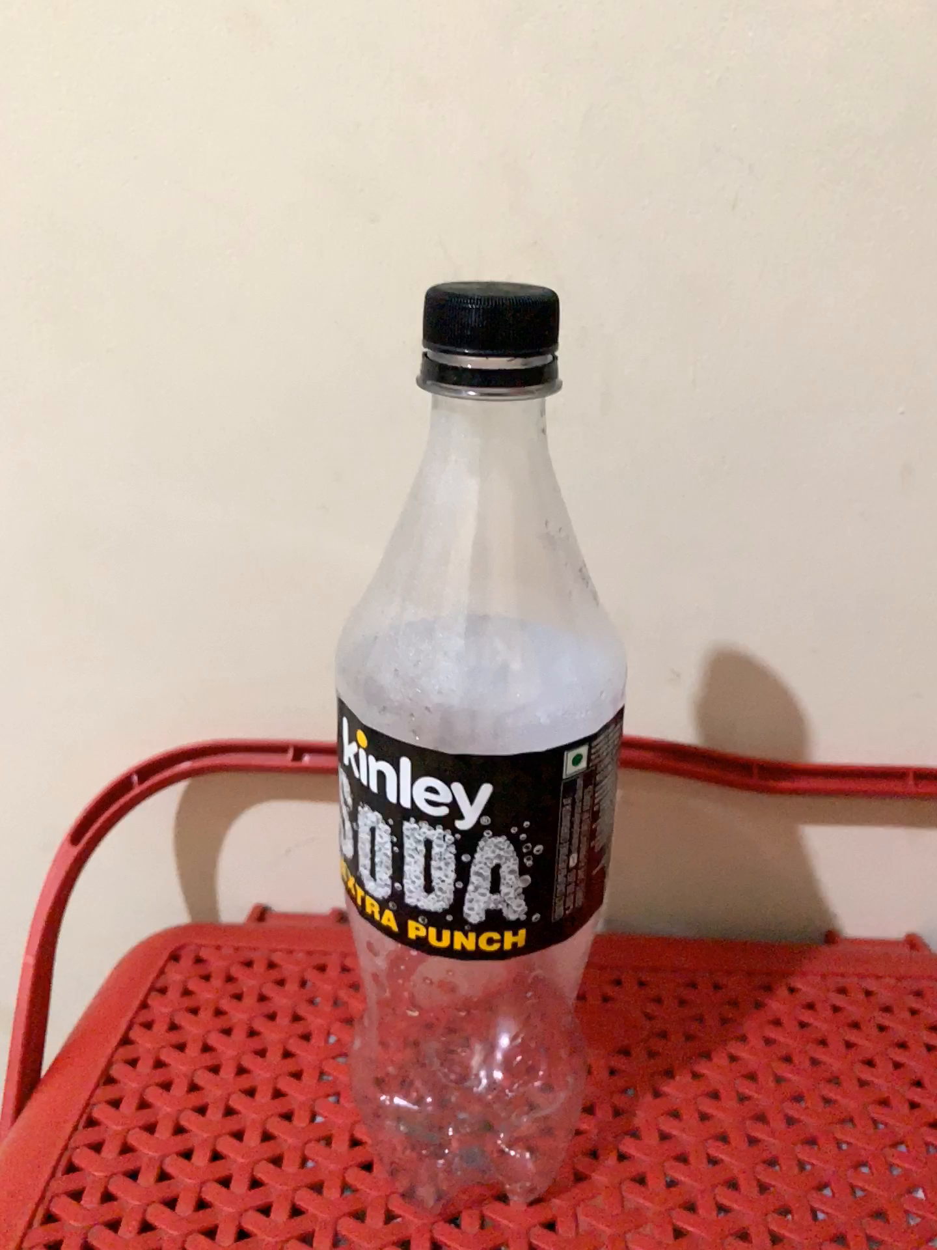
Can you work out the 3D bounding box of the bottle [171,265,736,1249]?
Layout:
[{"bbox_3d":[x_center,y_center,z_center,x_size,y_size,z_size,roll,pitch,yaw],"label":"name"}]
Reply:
[{"bbox_3d":[-0.002,0.042,0.235,0.080,0.228,0.070,17,31,27],"label":"bottle"}]
